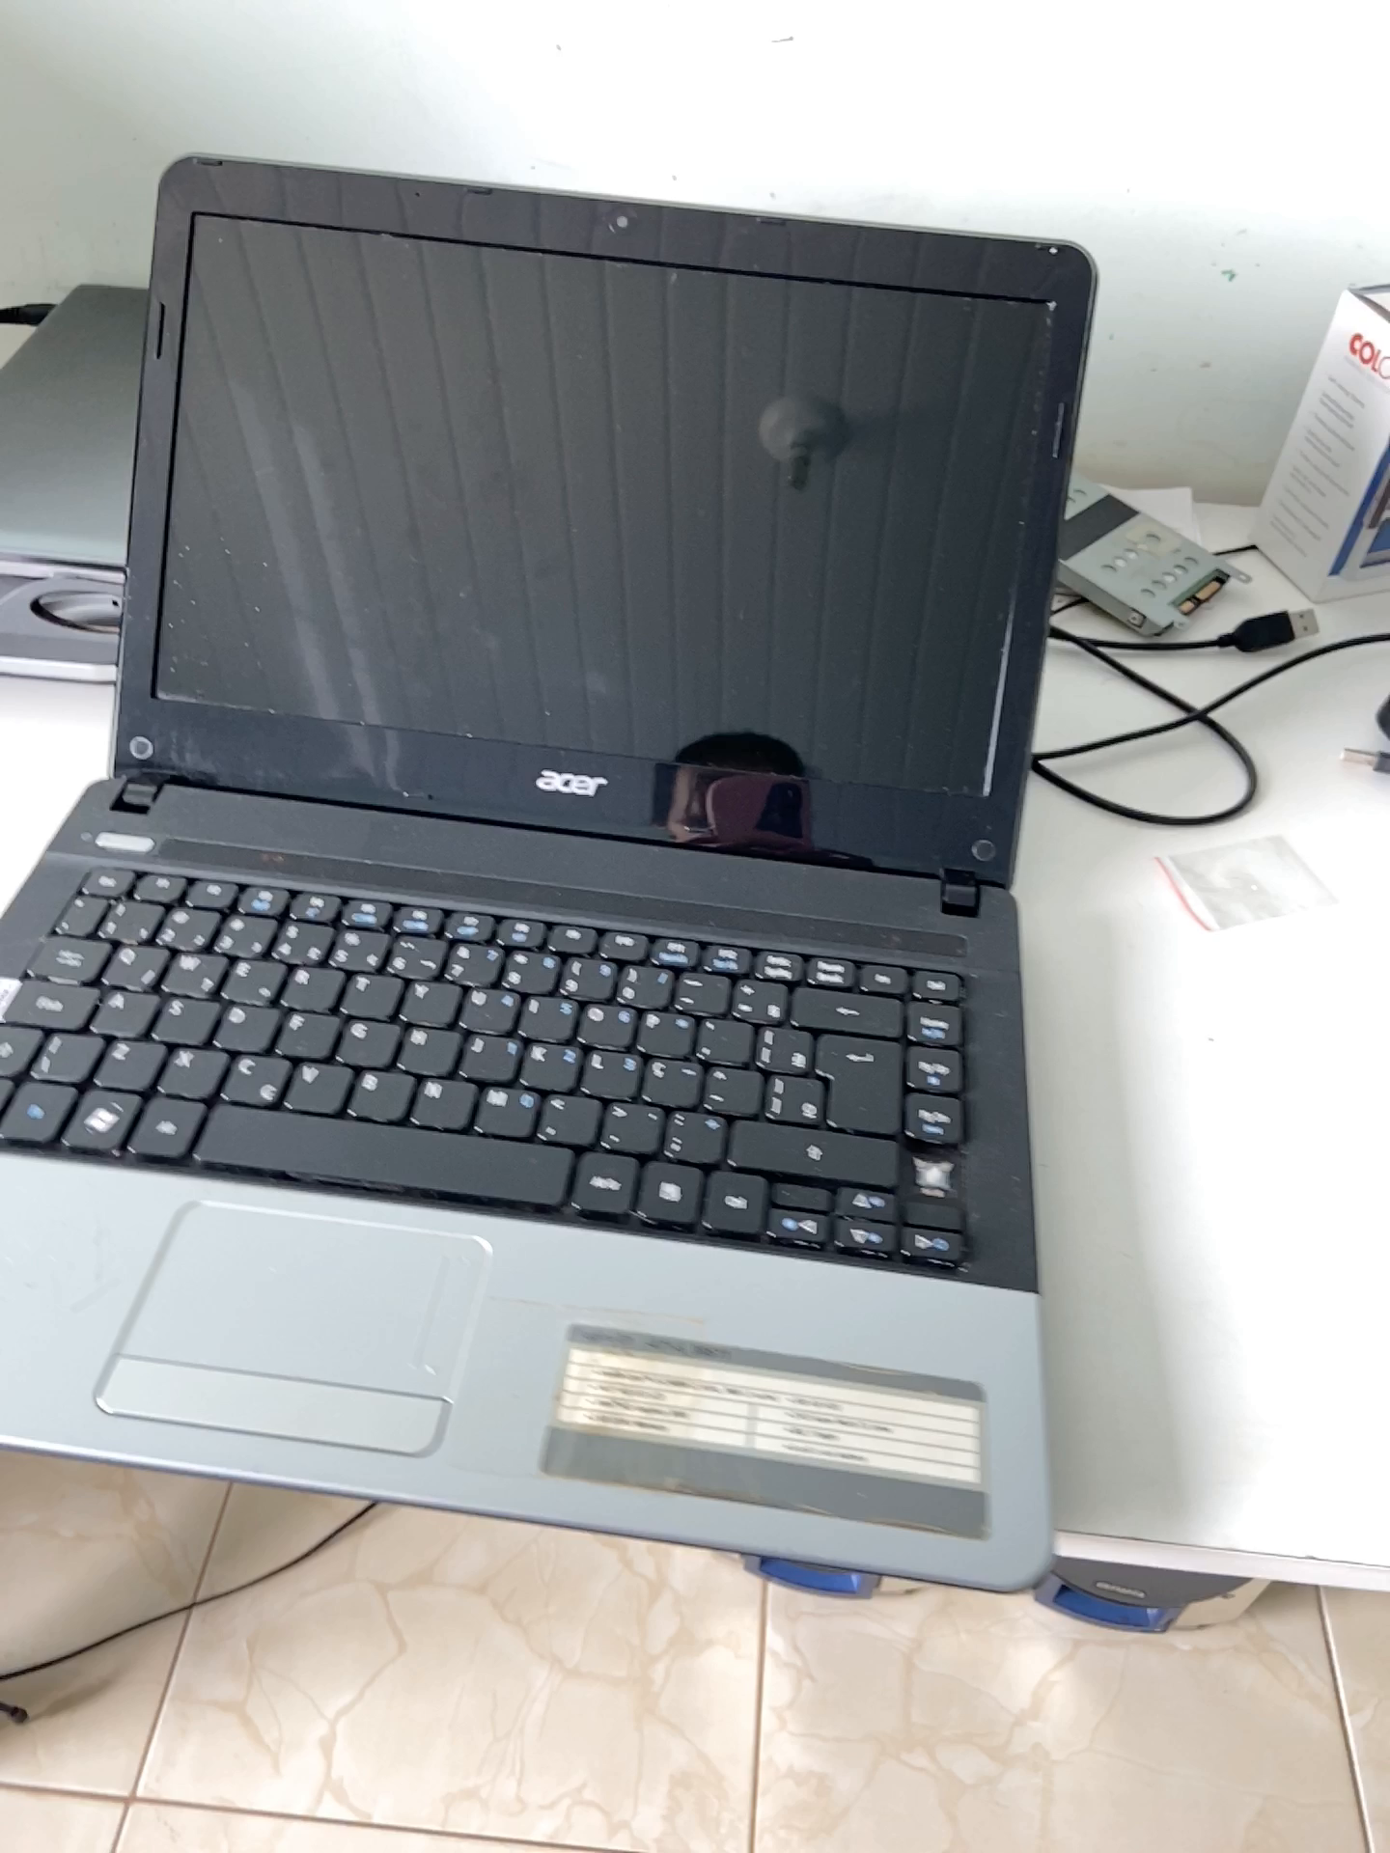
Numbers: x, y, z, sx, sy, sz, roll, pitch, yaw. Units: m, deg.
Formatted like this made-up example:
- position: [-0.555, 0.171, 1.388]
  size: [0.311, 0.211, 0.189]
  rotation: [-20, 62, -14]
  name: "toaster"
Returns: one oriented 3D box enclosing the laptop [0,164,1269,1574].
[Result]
- position: [-0.051, -0.061, 0.432]
  size: [0.332, 0.163, 0.398]
  rotation: [7, 45, 3]
  name: "laptop"
